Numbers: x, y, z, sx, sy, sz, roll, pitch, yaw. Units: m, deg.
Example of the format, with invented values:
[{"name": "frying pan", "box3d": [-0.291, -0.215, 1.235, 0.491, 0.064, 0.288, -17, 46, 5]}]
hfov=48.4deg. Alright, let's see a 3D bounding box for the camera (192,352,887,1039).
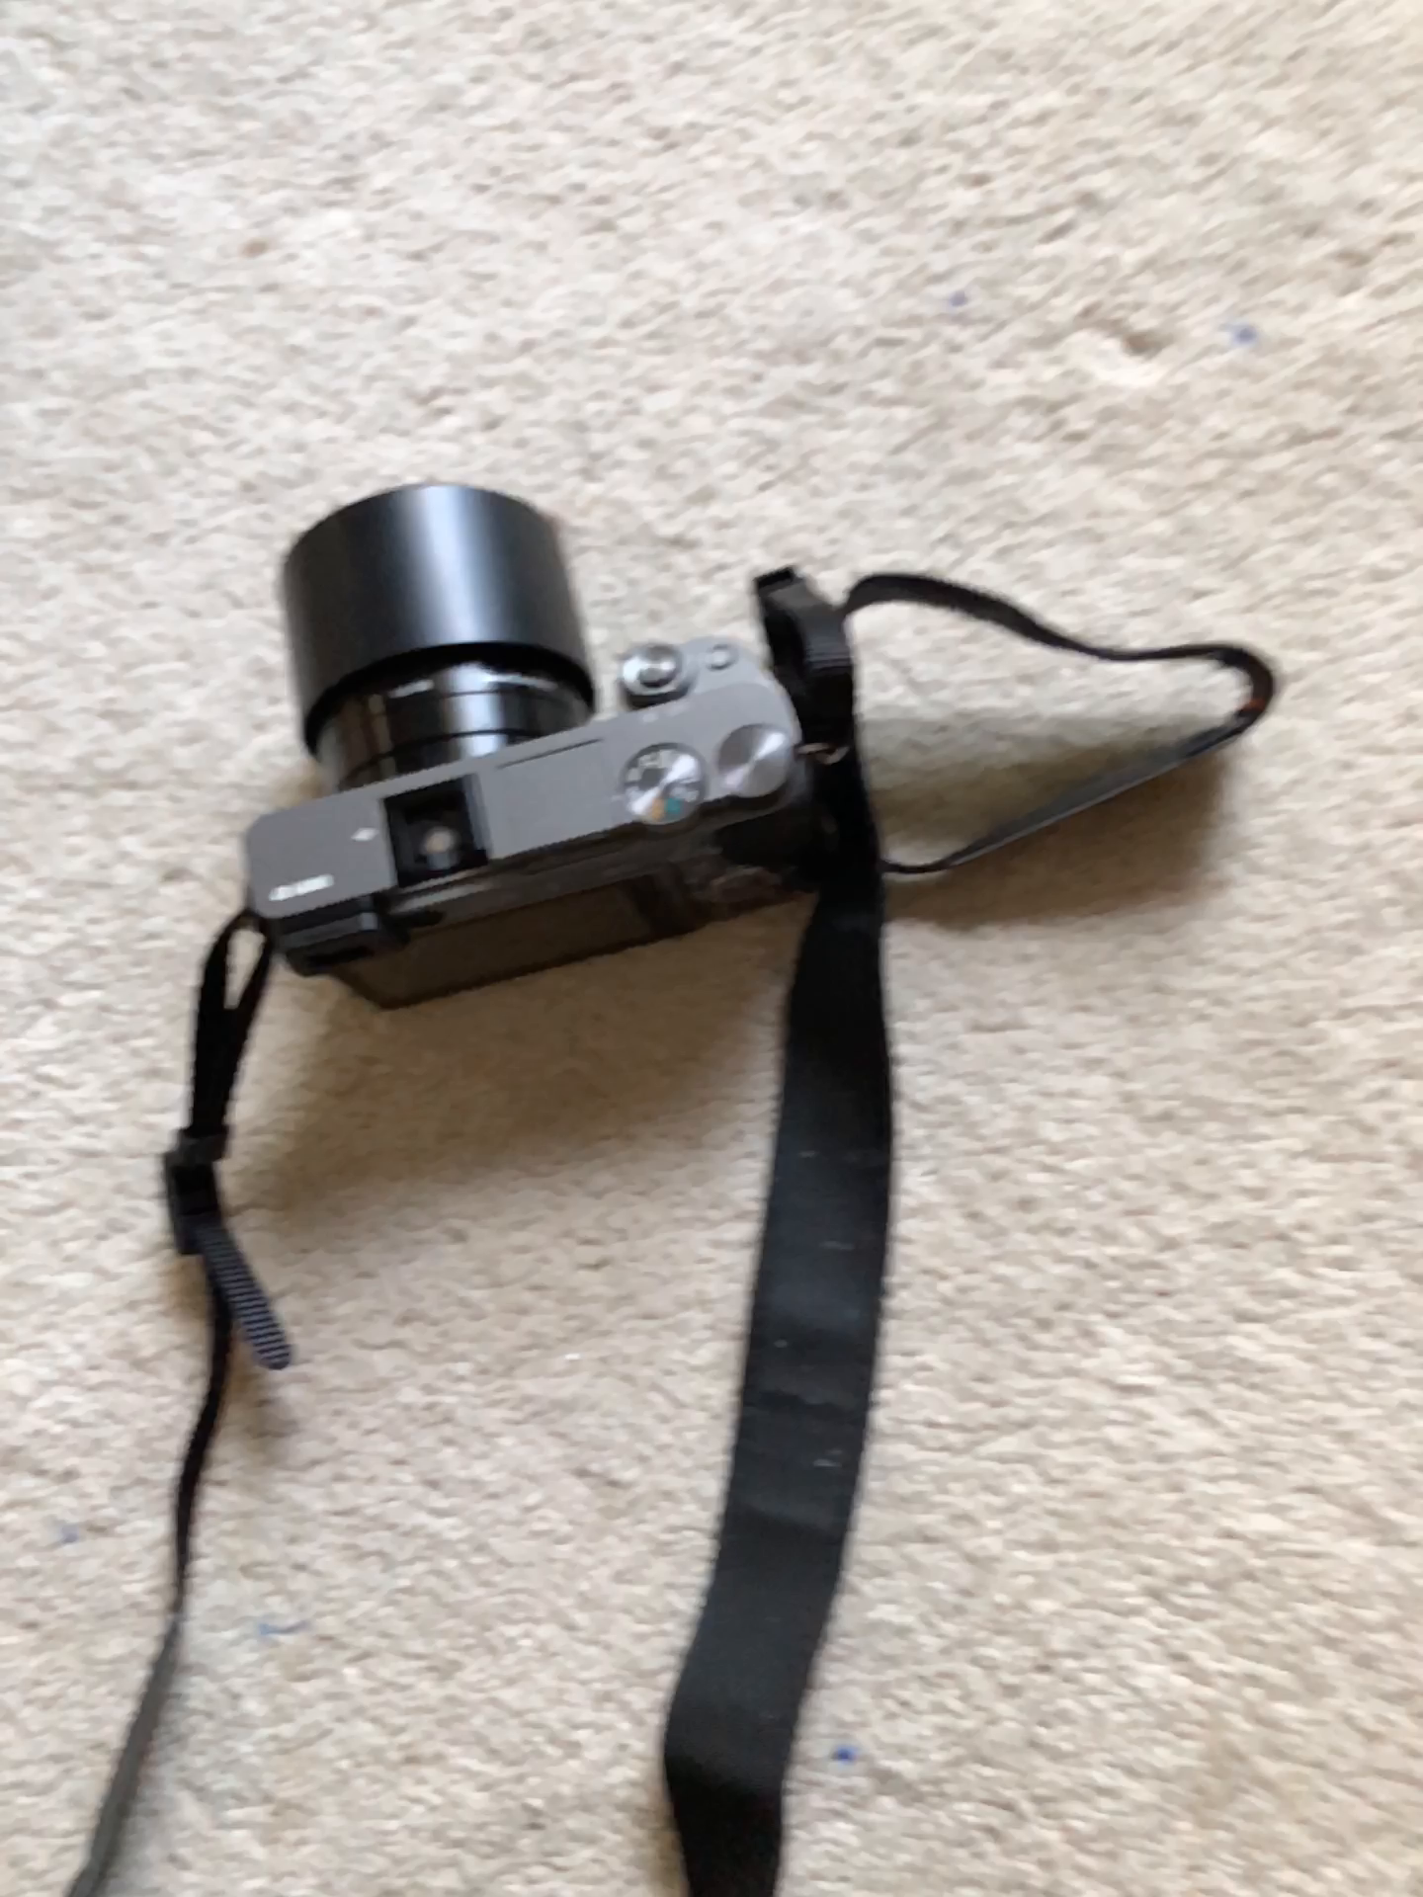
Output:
[{"name": "camera", "box3d": [-0.035, -0.050, 0.345, 0.120, 0.070, 0.100, -15, 72, 5]}]
